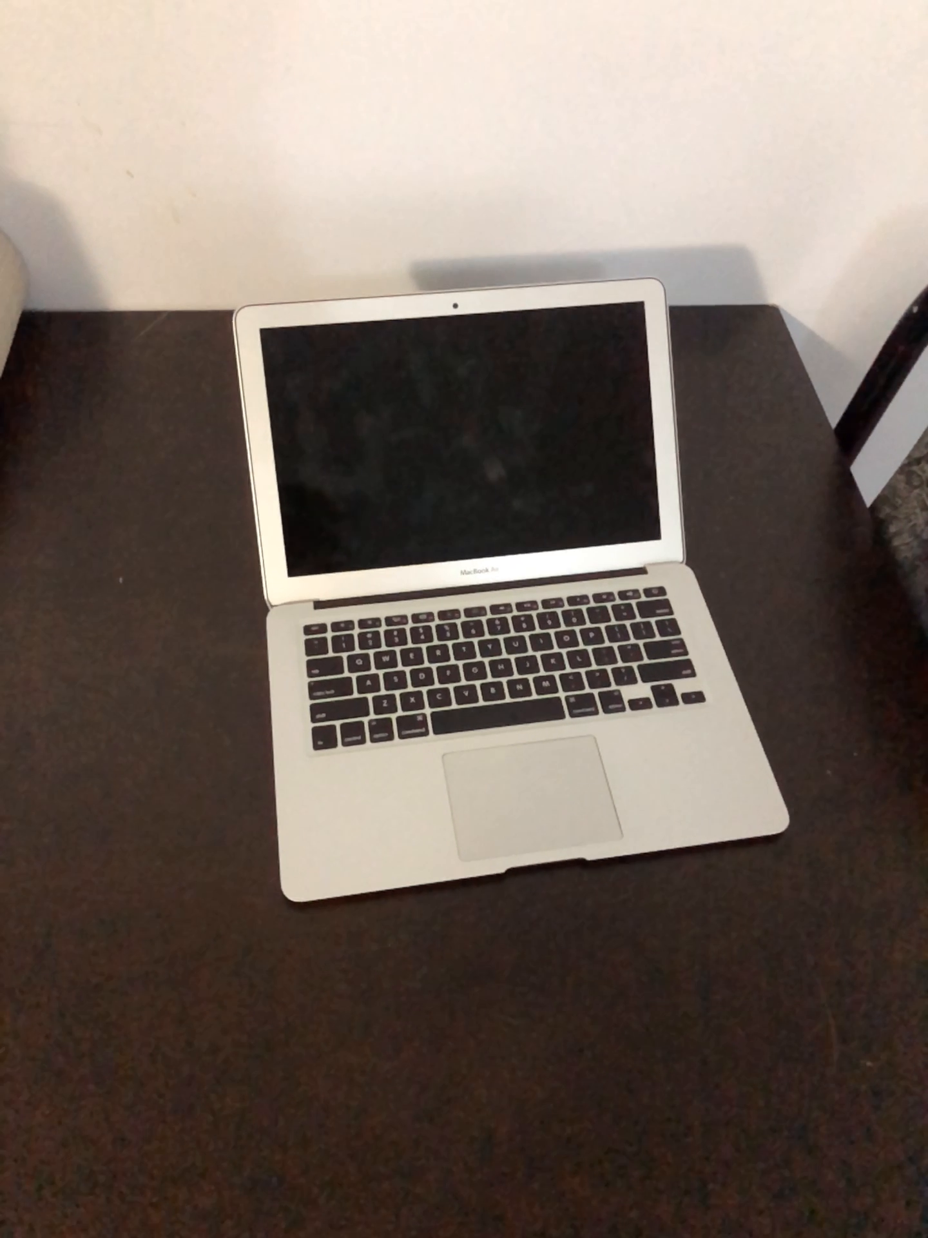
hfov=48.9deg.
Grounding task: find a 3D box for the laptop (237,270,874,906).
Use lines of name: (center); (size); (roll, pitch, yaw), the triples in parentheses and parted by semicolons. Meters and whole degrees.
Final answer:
laptop: (0.022, -0.043, 0.644); (0.303, 0.136, 0.362); (-6, 52, -7)
